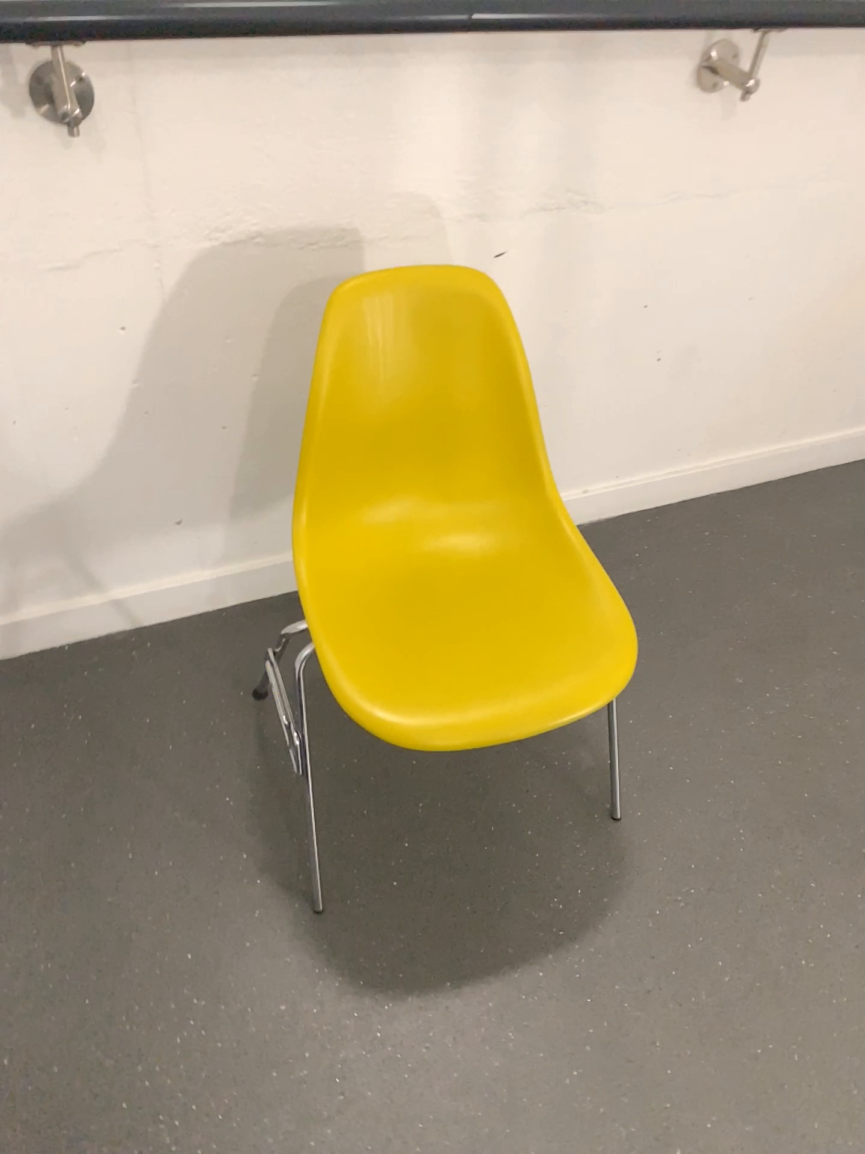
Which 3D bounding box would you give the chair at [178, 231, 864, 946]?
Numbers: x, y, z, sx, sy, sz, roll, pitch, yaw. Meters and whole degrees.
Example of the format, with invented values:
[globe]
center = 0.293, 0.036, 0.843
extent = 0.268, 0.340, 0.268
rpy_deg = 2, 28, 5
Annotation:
[chair]
center = 0.039, 0.008, 1.256
extent = 0.621, 0.733, 0.564
rpy_deg = -11, 47, -18
